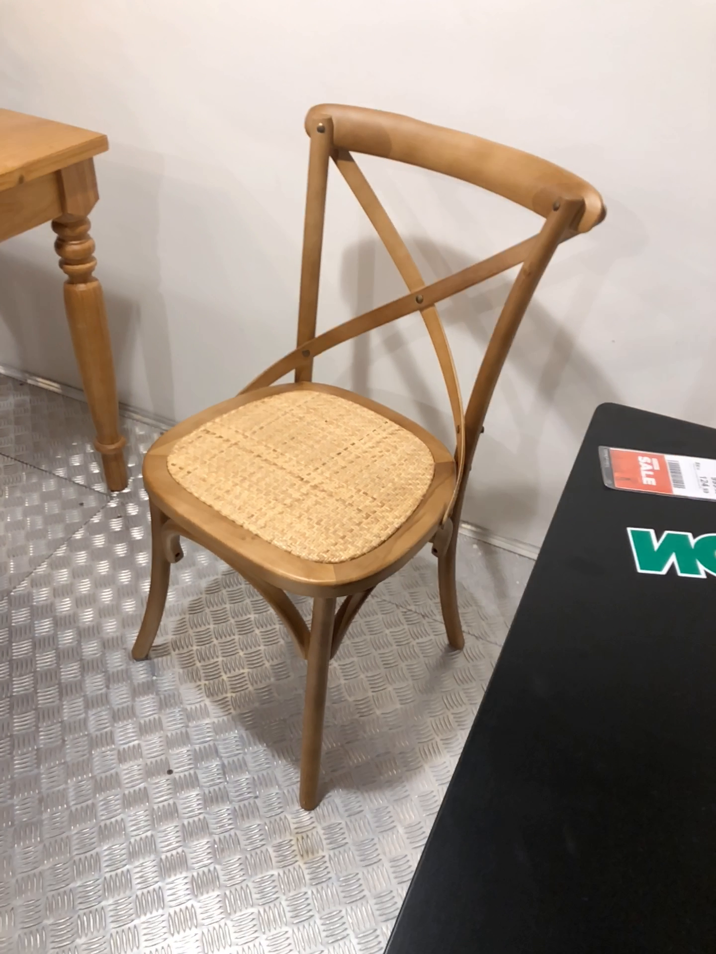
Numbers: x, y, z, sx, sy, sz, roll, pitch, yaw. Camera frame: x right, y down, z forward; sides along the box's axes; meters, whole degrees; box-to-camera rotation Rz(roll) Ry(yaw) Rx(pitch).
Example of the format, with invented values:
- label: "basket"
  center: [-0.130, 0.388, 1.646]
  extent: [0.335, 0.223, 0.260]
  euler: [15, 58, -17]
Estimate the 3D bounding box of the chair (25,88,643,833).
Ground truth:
- label: "chair"
  center: [-0.036, -0.031, 1.212]
  extent: [0.502, 0.873, 0.543]
  euler: [31, 46, 30]
